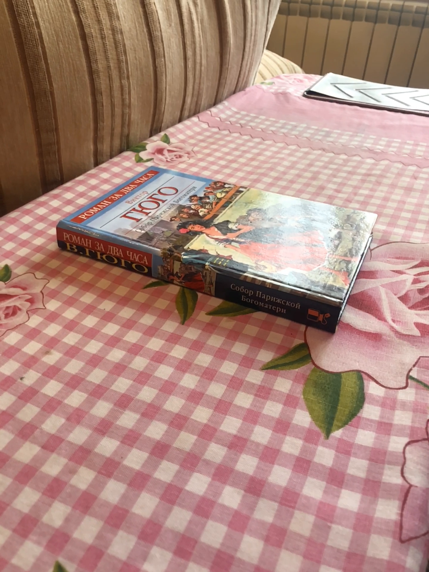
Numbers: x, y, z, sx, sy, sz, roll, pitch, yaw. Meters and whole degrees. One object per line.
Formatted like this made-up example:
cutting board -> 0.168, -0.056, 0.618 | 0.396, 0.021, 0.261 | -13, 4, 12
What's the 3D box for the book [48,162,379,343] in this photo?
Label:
book -> 0.005, -0.040, 0.360 | 0.207, 0.027, 0.137 | 17, 37, 19
